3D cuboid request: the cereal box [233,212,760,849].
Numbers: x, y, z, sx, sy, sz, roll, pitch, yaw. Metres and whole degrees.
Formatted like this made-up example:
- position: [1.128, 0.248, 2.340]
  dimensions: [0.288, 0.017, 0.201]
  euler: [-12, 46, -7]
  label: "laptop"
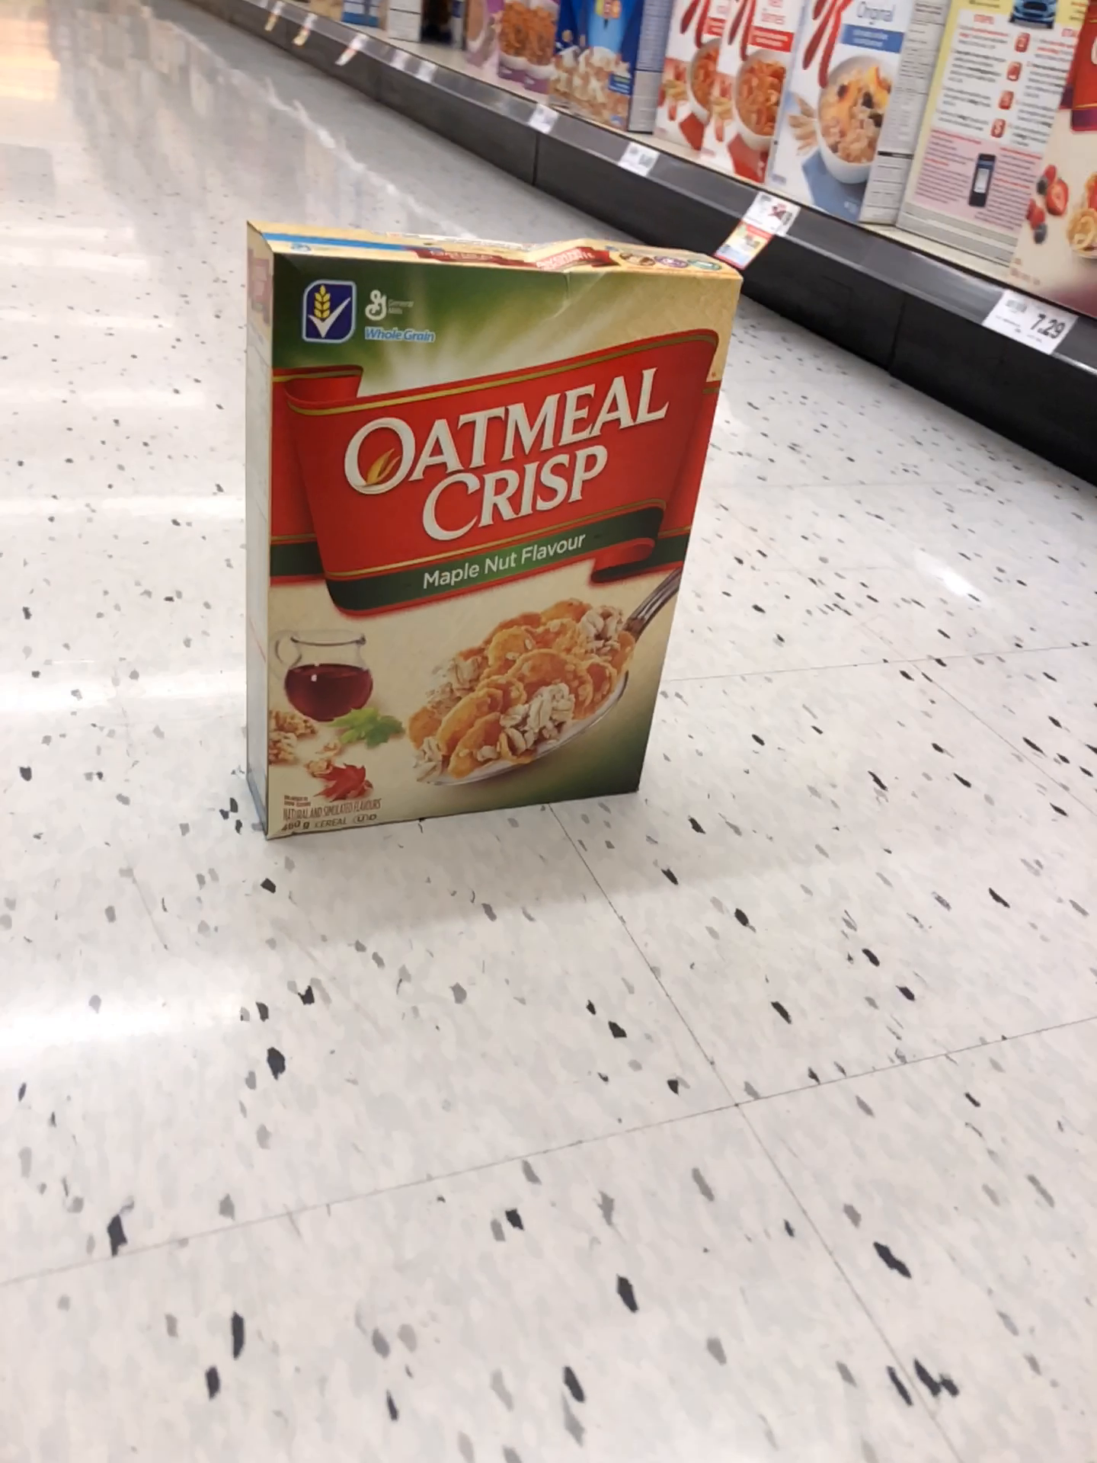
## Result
- position: [-0.033, -0.080, 0.535]
  dimensions: [0.200, 0.258, 0.050]
  euler: [-6, 34, -24]
  label: "cereal box"
